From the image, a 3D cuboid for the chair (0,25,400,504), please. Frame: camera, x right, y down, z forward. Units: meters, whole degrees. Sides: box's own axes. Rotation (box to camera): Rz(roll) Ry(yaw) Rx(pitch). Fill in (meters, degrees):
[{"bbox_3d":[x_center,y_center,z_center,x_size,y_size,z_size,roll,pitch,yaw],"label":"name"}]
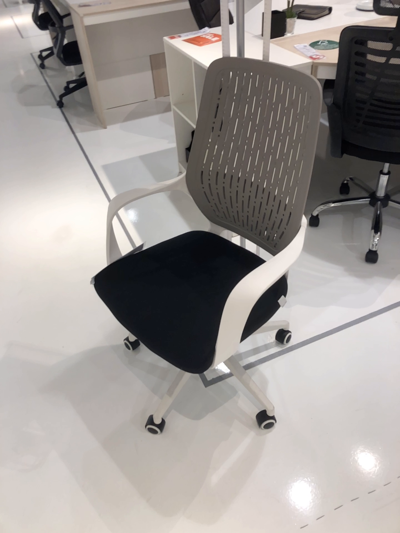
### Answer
[{"bbox_3d":[-0.020,-0.021,1.275,0.672,1.002,0.693,-34,49,-29],"label":"chair"}]
